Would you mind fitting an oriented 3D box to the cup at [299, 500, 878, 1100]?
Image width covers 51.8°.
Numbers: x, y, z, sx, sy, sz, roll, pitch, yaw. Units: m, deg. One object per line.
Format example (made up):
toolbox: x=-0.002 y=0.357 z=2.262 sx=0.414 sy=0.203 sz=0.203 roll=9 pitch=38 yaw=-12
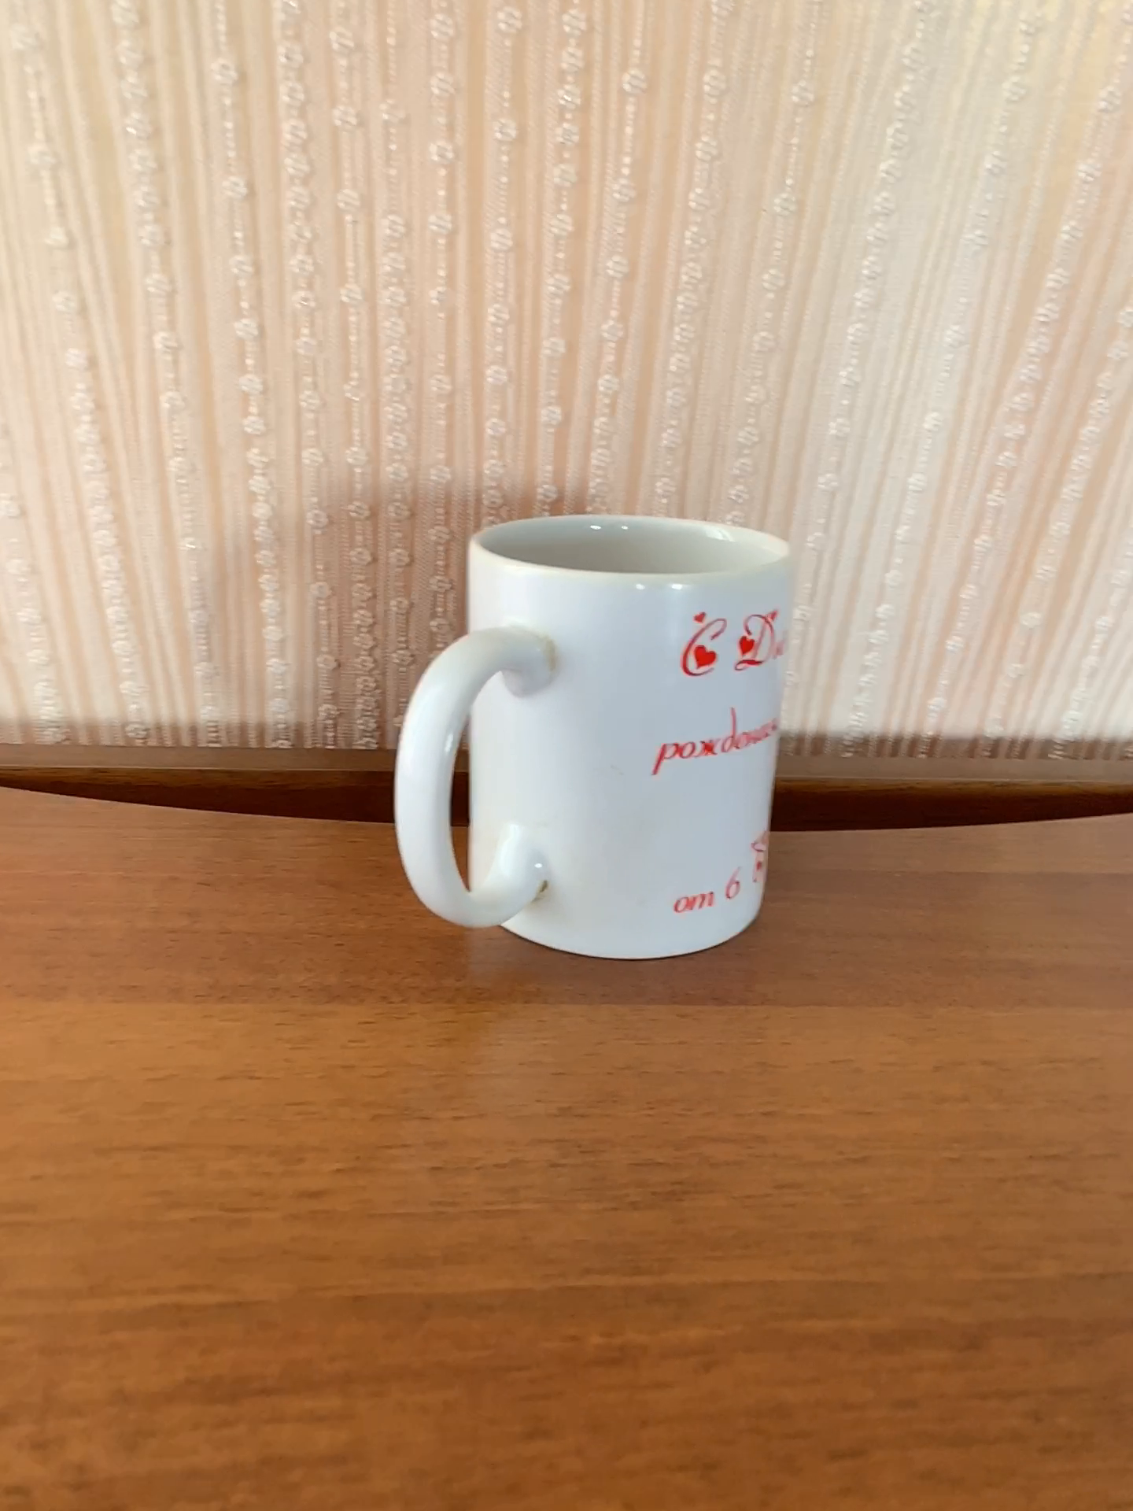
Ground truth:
cup: x=0.008 y=-0.002 z=0.296 sx=0.082 sy=0.105 sz=0.118 roll=18 pitch=25 yaw=38
